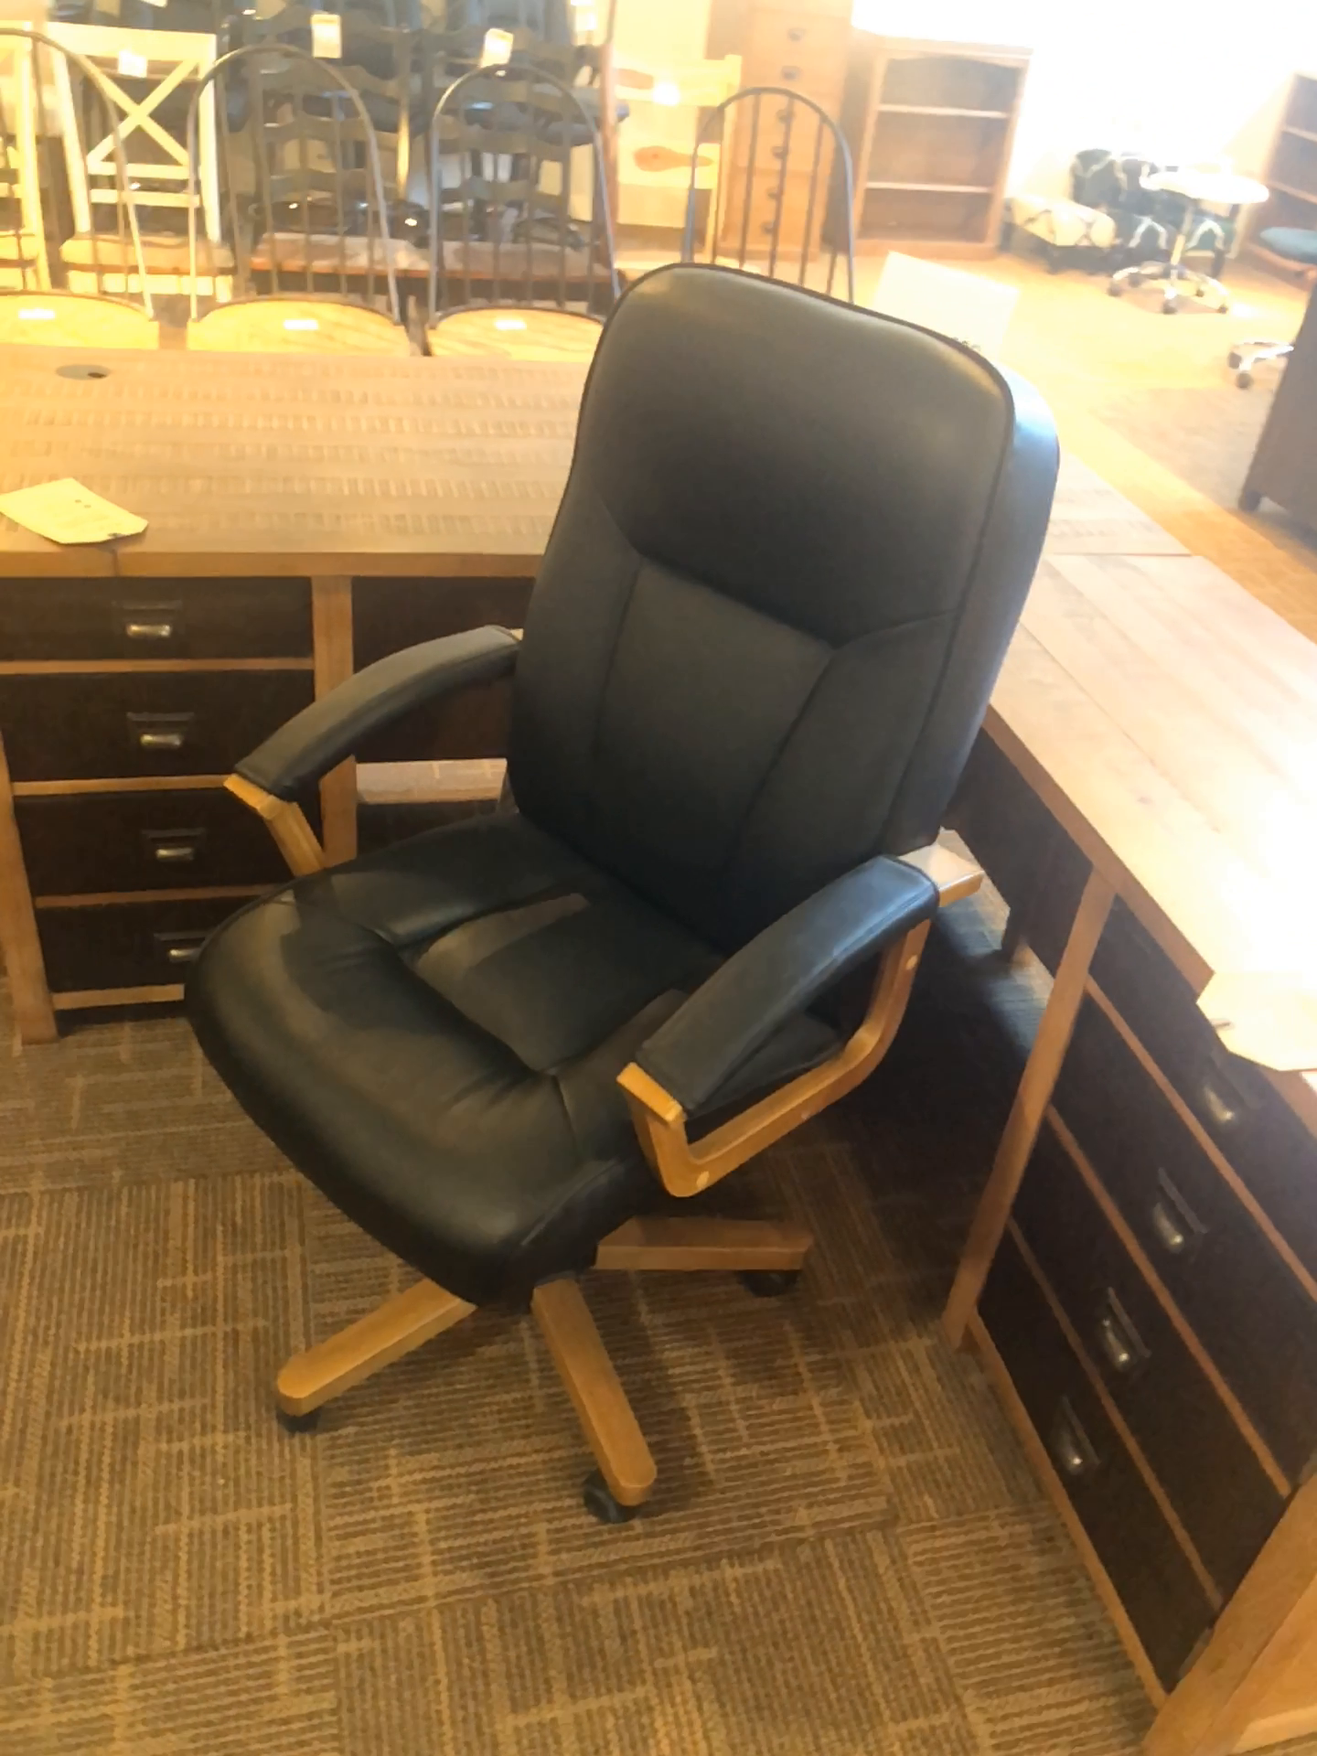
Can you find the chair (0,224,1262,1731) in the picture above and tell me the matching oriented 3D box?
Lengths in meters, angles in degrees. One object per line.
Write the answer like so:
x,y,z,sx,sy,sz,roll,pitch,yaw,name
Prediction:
-0.099,0.040,1.452,0.744,1.104,0.740,-23,45,-35,chair
